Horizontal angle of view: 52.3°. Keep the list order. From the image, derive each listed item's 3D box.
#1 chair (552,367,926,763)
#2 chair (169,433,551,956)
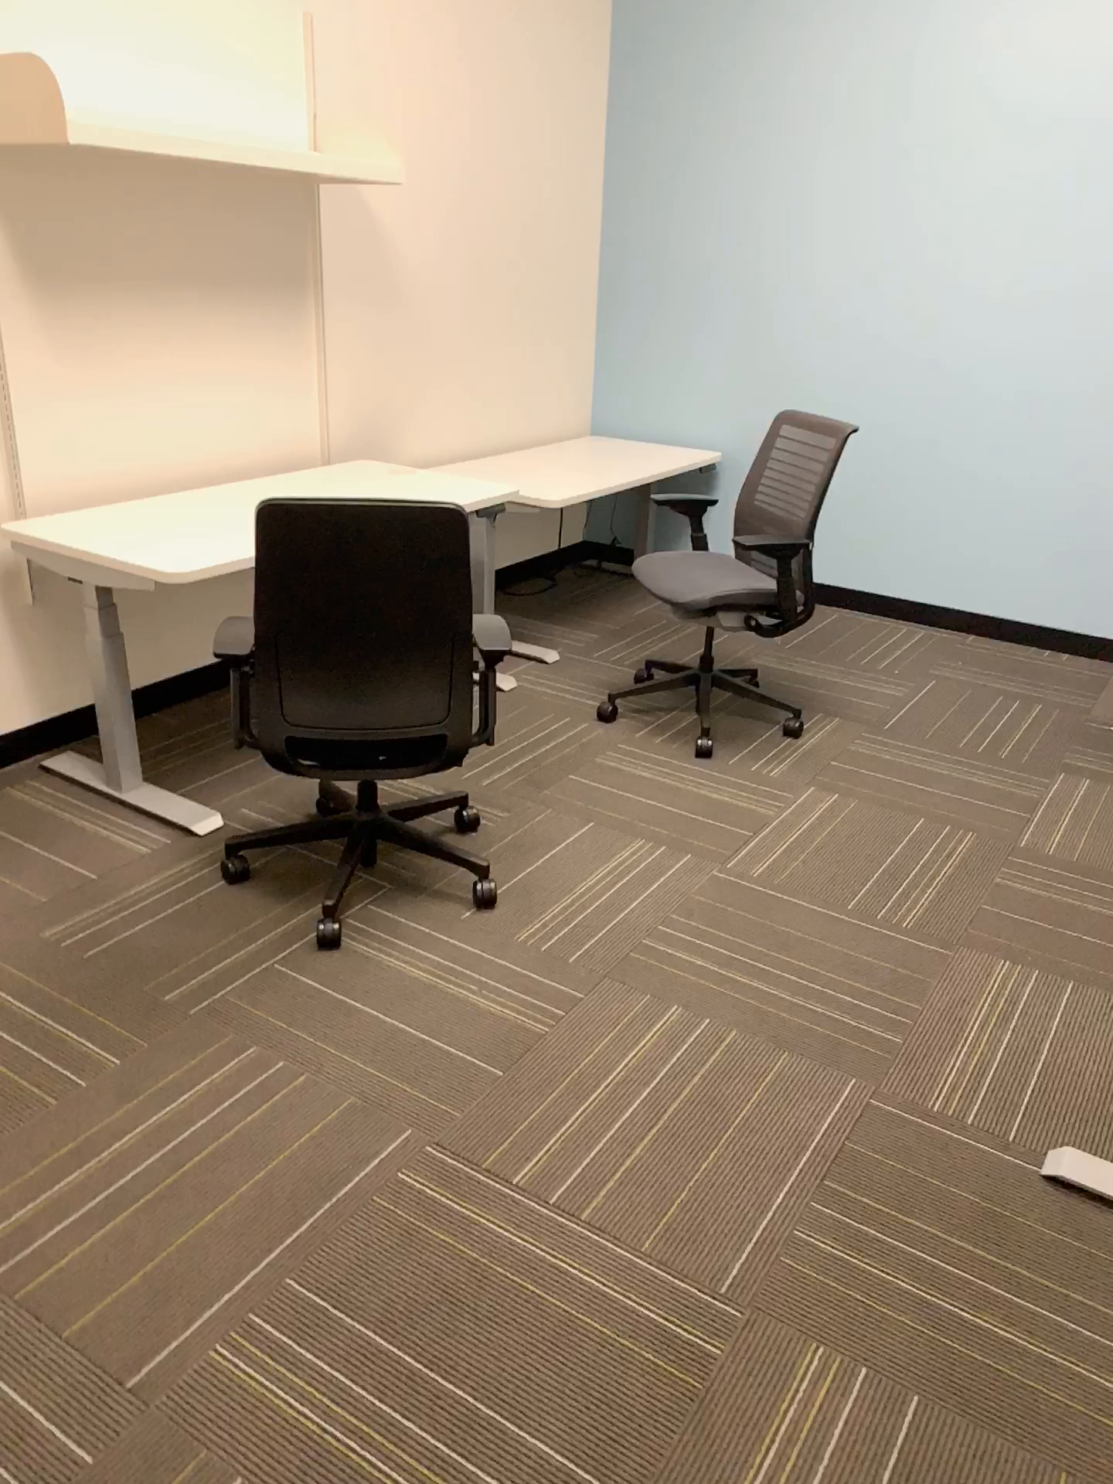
[{"bbox_3d":[0.487,-0.596,3.537,0.770,0.995,0.895,-3,23,-14],"label":"chair"},{"bbox_3d":[-0.447,-0.160,2.568,0.680,0.935,0.774,-3,23,-13],"label":"chair"}]
